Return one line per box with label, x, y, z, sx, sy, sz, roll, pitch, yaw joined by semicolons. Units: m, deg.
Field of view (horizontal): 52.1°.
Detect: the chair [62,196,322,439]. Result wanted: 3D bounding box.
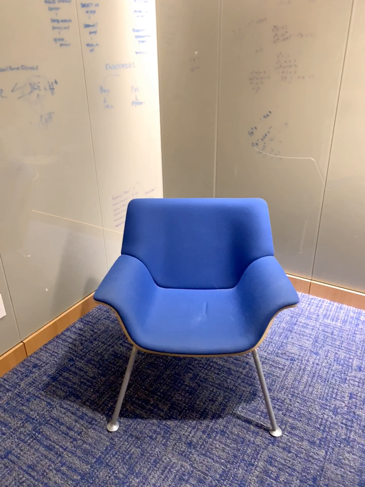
chair;0.045;0.253;1.616;0.788;0.713;0.744;0;25;3
